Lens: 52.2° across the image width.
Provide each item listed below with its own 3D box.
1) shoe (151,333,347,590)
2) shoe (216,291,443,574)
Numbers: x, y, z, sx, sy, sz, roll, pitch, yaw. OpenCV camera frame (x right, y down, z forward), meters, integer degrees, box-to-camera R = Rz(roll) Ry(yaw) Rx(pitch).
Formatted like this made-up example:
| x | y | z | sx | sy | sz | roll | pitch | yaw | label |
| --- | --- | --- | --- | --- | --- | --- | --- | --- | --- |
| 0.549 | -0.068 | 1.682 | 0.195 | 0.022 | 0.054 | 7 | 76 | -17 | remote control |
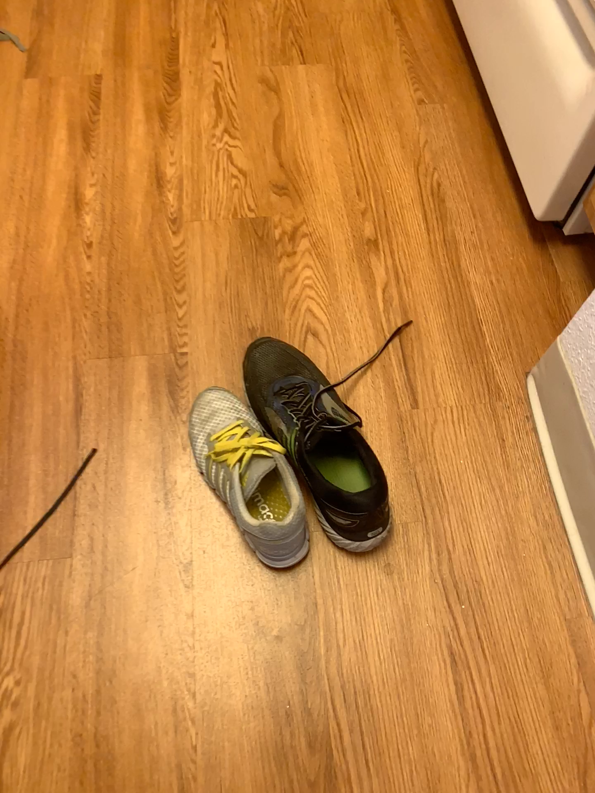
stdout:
| x | y | z | sx | sy | sz | roll | pitch | yaw | label |
| --- | --- | --- | --- | --- | --- | --- | --- | --- | --- |
| -0.058 | 0.071 | 0.683 | 0.100 | 0.110 | 0.251 | -27 | 66 | -14 | shoe |
| 0.025 | 0.037 | 0.698 | 0.110 | 0.110 | 0.291 | -26 | 66 | -14 | shoe |
